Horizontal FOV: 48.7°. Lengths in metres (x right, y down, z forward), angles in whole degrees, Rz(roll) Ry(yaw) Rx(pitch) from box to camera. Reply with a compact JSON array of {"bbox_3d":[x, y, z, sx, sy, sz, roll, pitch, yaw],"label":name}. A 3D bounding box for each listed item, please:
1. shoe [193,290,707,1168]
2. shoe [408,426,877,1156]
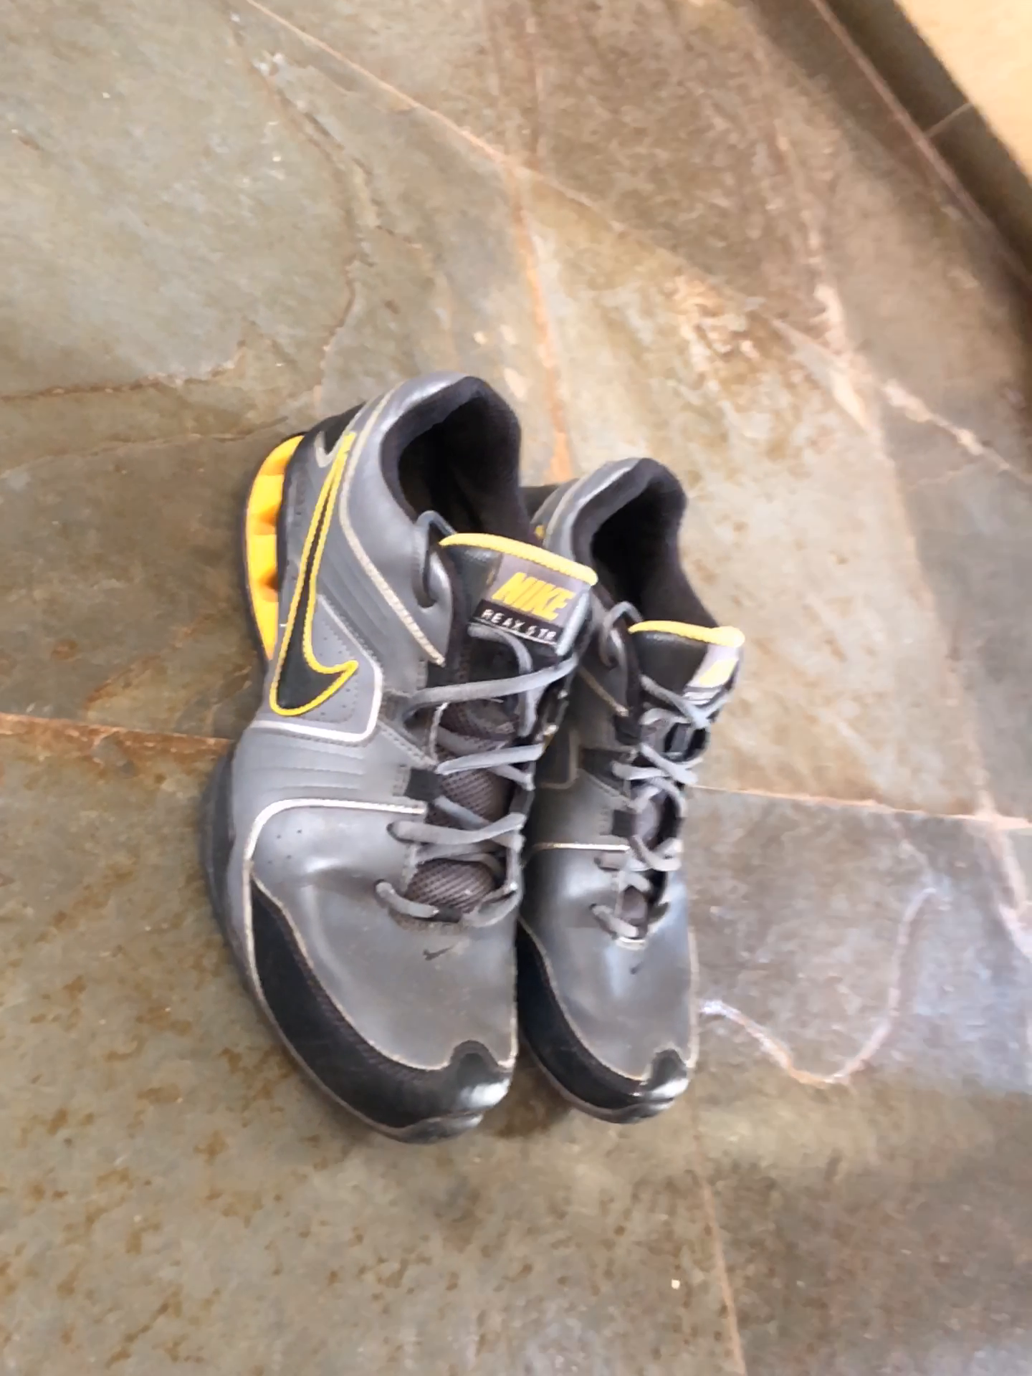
[{"bbox_3d":[-0.031,0.015,0.368,0.100,0.099,0.241,13,61,-42],"label":"shoe"},{"bbox_3d":[0.040,0.041,0.438,0.100,0.099,0.241,13,61,-42],"label":"shoe"}]
